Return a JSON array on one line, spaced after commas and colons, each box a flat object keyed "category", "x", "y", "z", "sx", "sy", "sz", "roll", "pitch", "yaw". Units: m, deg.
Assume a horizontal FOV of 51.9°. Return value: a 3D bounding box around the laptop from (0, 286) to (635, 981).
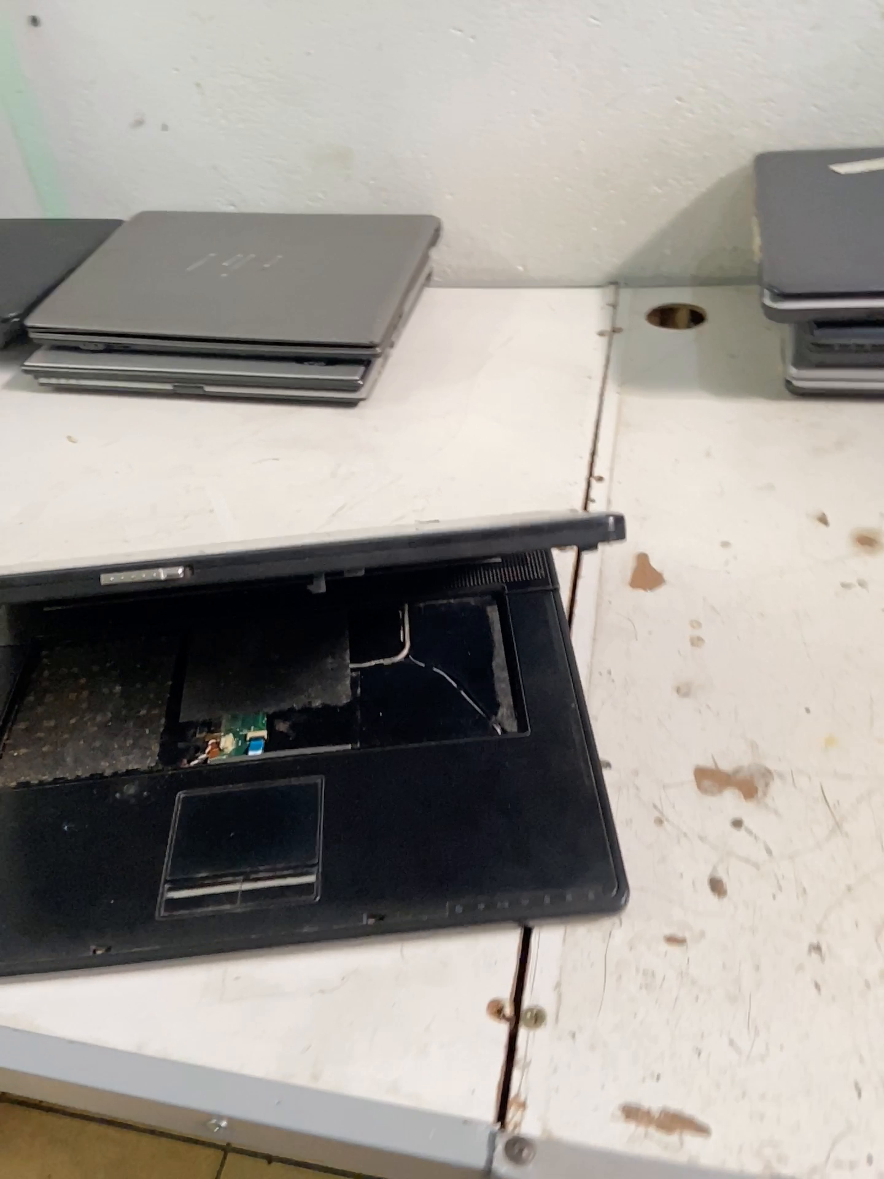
[{"category": "laptop", "x": -0.112, "y": 0.006, "z": 0.446, "sx": 0.348, "sy": 0.164, "sz": 0.261, "roll": -6, "pitch": 43, "yaw": 0}]
